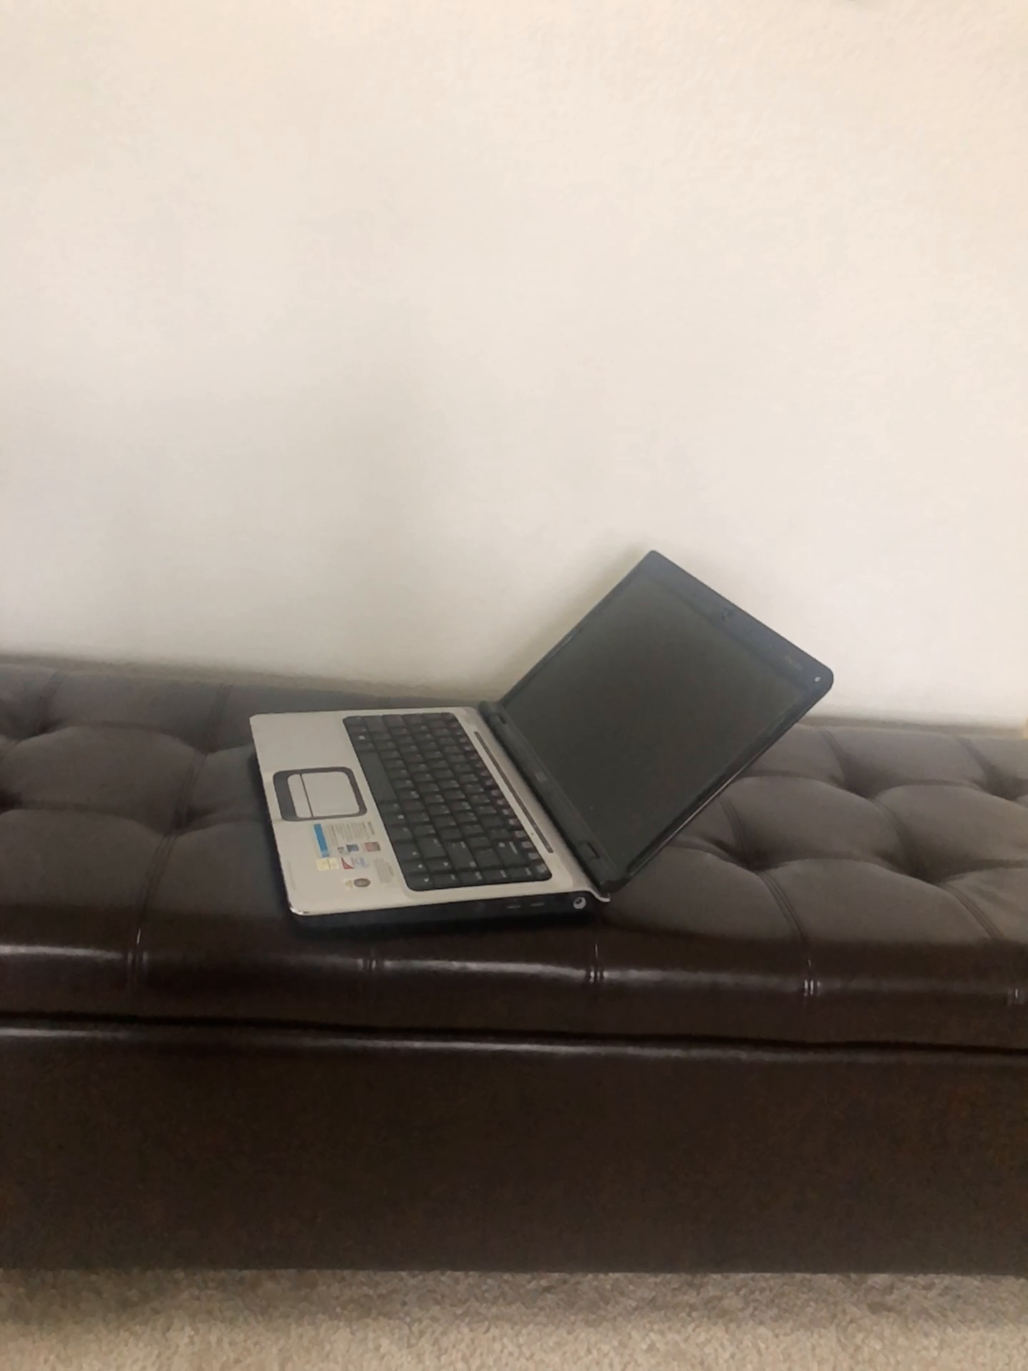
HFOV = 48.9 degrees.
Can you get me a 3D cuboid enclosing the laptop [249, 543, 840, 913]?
[{"bbox_3d":[-0.004,0.008,0.922,0.381,0.161,0.327,-1,22,-19],"label":"laptop"}]
